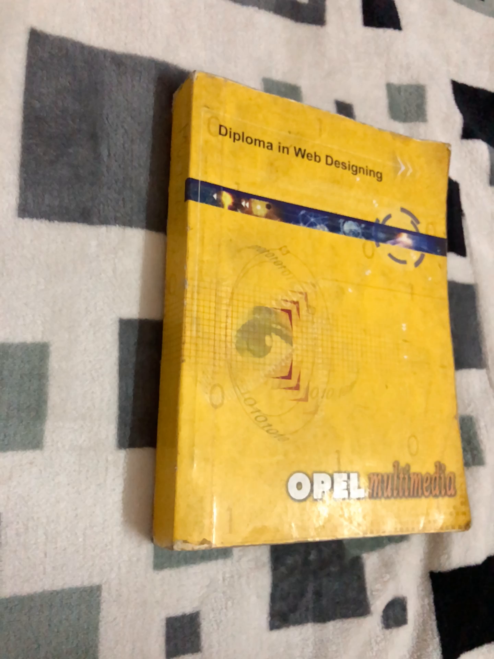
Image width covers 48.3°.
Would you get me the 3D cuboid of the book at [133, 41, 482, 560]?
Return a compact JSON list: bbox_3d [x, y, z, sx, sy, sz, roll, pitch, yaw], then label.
[{"bbox_3d":[0.046,-0.014,0.392,0.221,0.070,0.310,7,76,-24],"label":"book"}]
